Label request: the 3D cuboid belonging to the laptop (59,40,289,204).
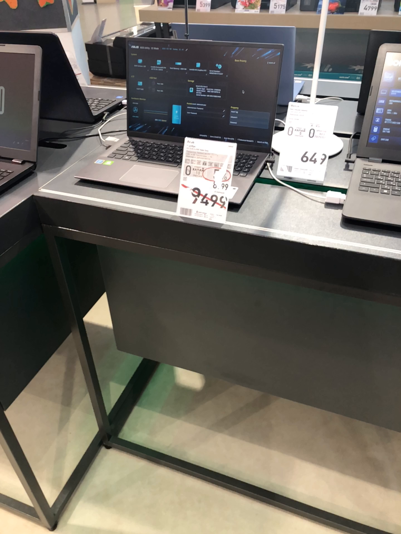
[{"bbox_3d":[-0.037,-0.312,0.890,0.355,0.200,0.288,12,40,20],"label":"laptop"}]
